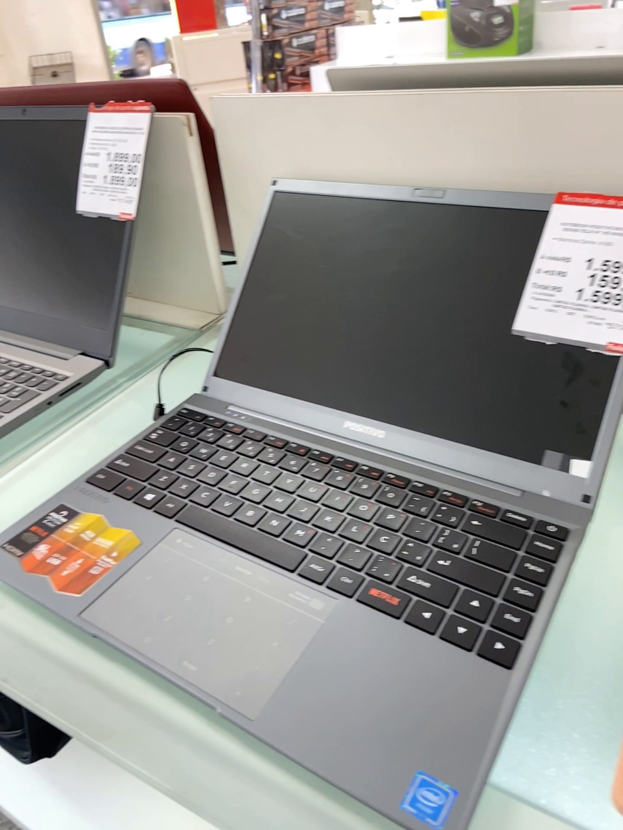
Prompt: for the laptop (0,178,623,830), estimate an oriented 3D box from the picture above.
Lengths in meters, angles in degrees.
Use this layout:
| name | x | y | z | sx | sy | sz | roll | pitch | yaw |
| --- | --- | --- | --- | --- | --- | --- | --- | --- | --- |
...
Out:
| name | x | y | z | sx | sy | sz | roll | pitch | yaw |
| --- | --- | --- | --- | --- | --- | --- | --- | --- | --- |
| laptop | 0.009 | -0.022 | 0.413 | 0.334 | 0.144 | 0.368 | 15 | 40 | 30 |
